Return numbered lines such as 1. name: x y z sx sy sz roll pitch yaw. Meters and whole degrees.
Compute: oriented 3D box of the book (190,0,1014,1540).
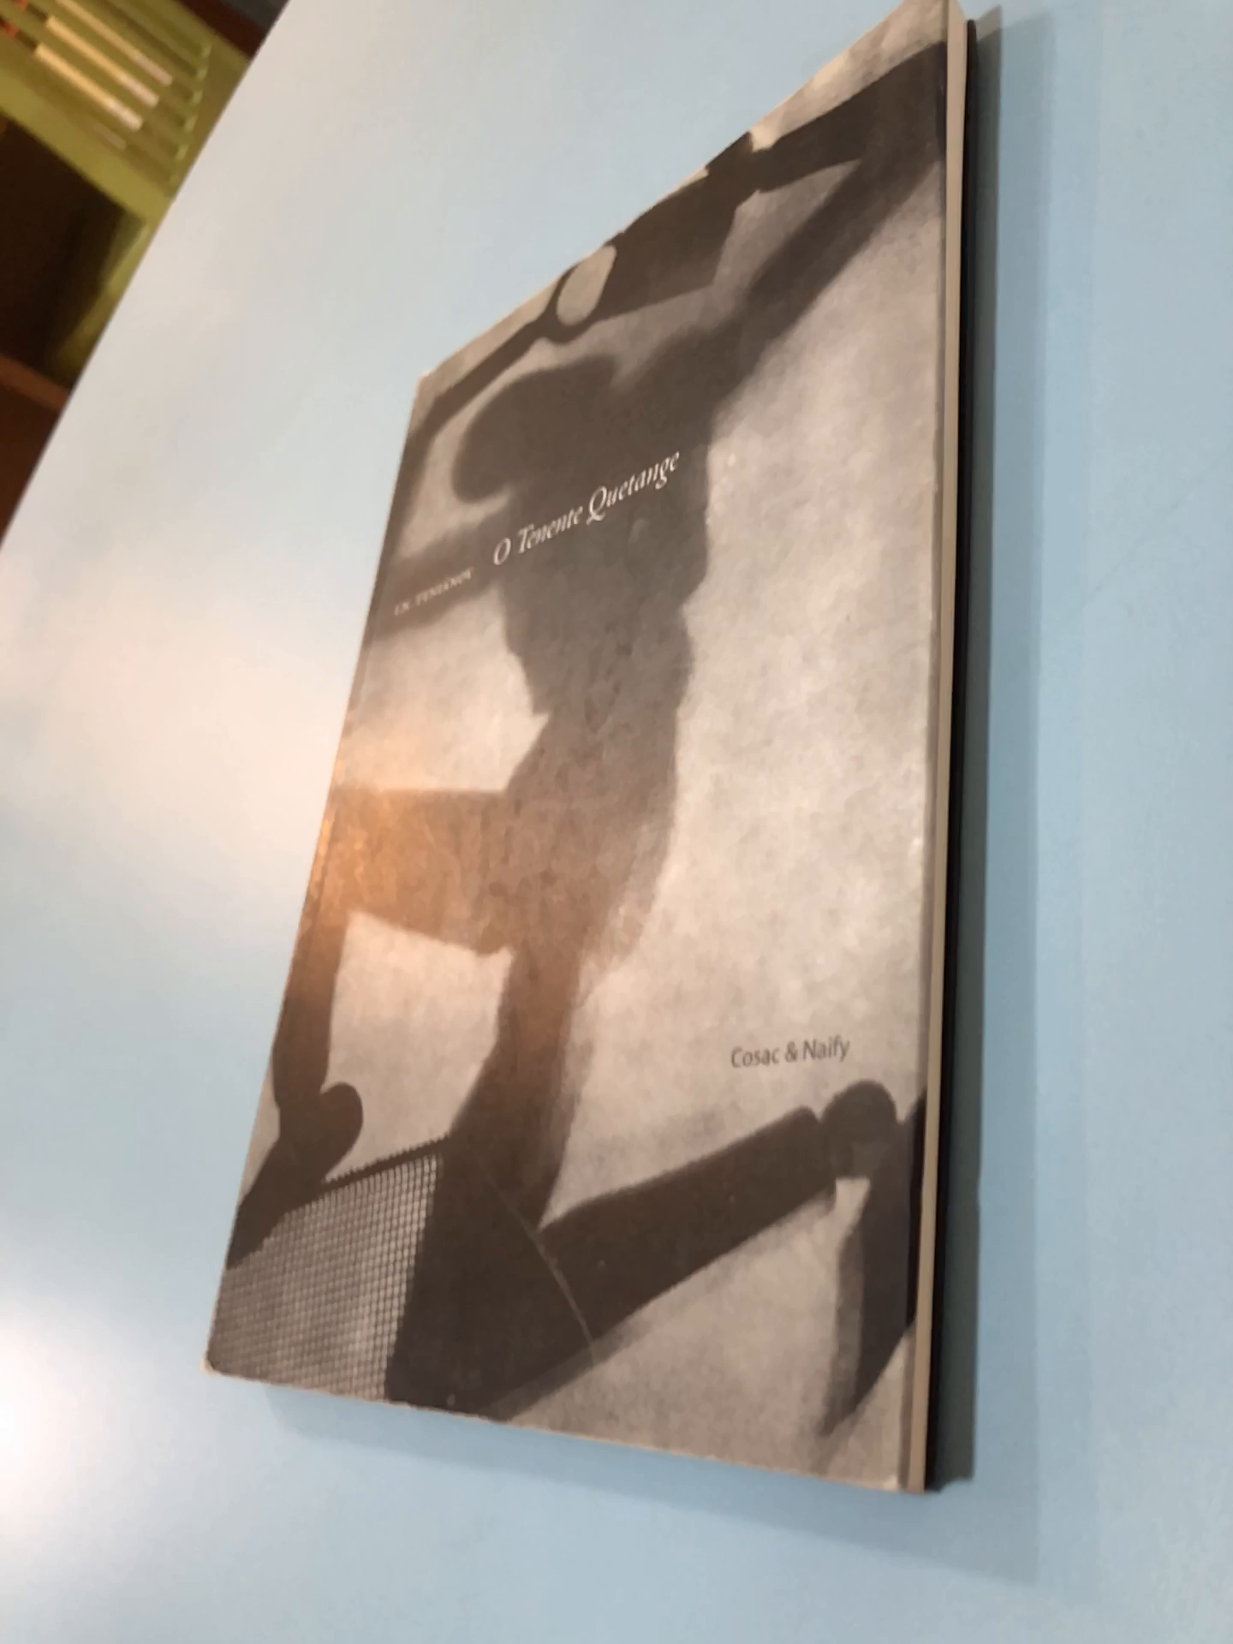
1. book: -0.005 -0.013 0.209 0.135 0.016 0.197 -16 59 46
